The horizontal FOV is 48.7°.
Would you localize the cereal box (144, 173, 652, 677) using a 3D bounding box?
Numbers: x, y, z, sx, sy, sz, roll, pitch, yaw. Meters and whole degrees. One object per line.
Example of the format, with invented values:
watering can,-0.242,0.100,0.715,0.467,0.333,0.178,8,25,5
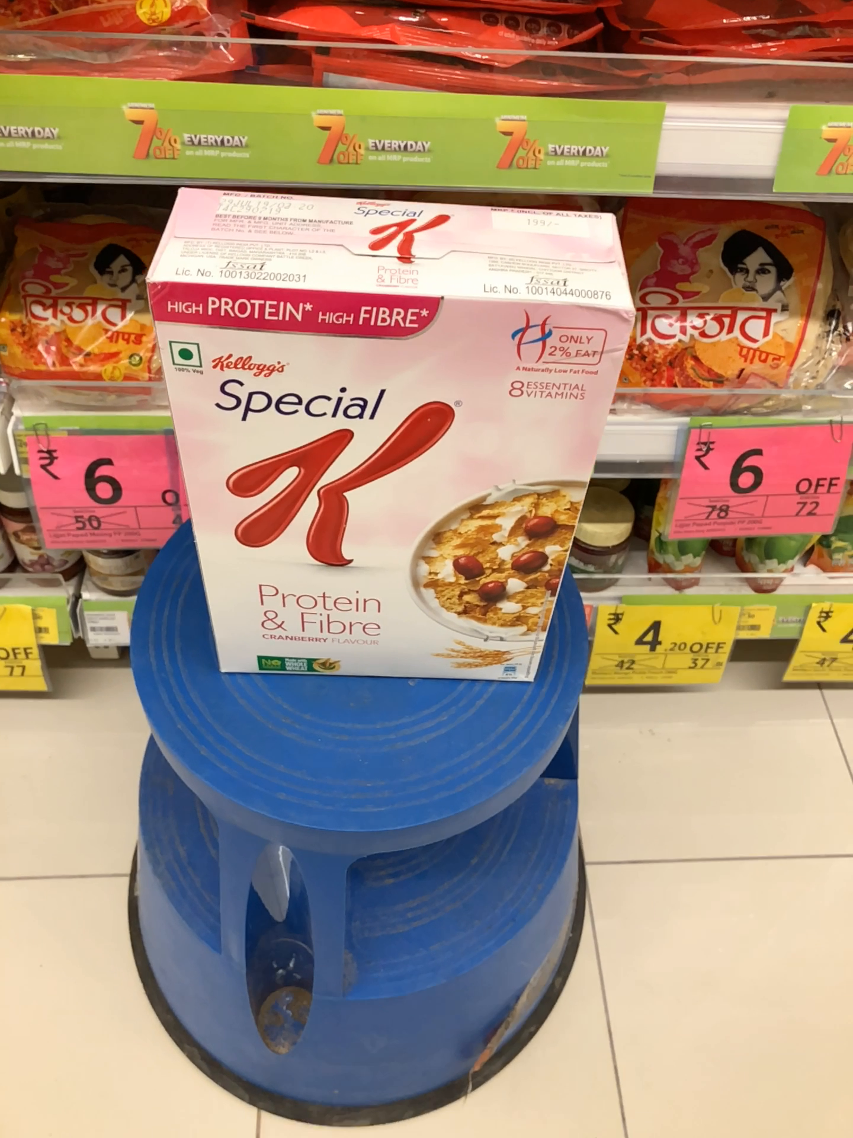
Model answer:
cereal box,-0.014,-0.049,0.452,0.180,0.248,0.070,2,51,-1
